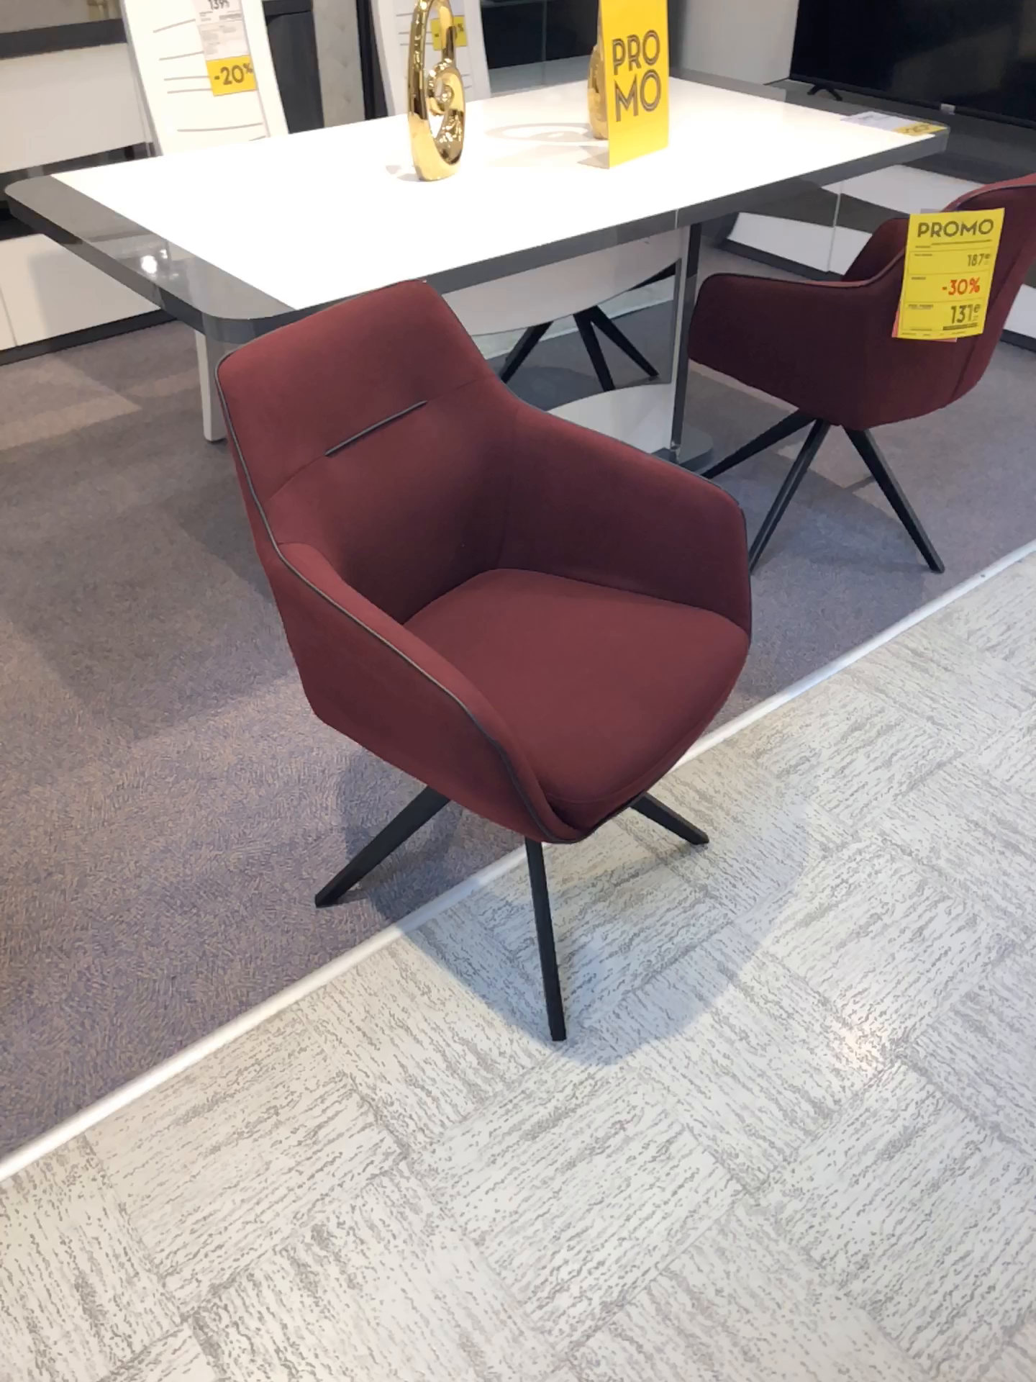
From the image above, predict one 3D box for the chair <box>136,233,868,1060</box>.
[{"bbox_3d":[0.000,-0.090,1.470,0.570,0.735,0.584,24,44,27],"label":"chair"}]
